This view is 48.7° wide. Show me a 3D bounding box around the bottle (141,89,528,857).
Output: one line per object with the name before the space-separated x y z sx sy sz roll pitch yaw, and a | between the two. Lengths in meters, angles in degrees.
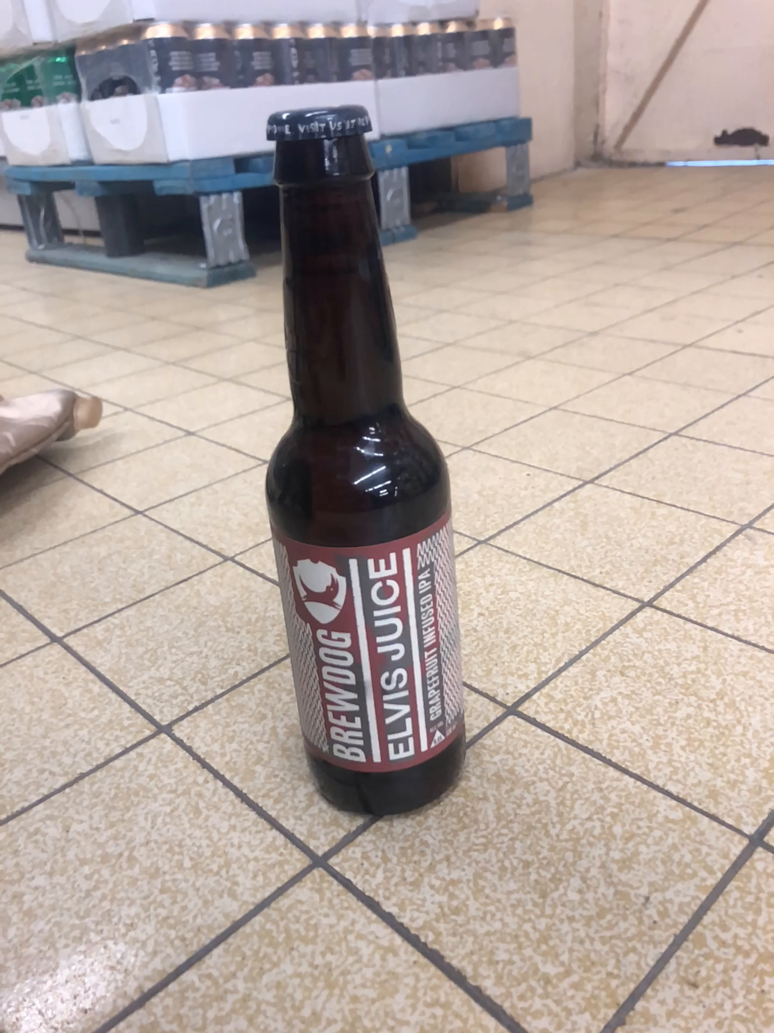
bottle | -0.003 -0.010 0.260 0.070 0.209 0.070 -4 25 2
